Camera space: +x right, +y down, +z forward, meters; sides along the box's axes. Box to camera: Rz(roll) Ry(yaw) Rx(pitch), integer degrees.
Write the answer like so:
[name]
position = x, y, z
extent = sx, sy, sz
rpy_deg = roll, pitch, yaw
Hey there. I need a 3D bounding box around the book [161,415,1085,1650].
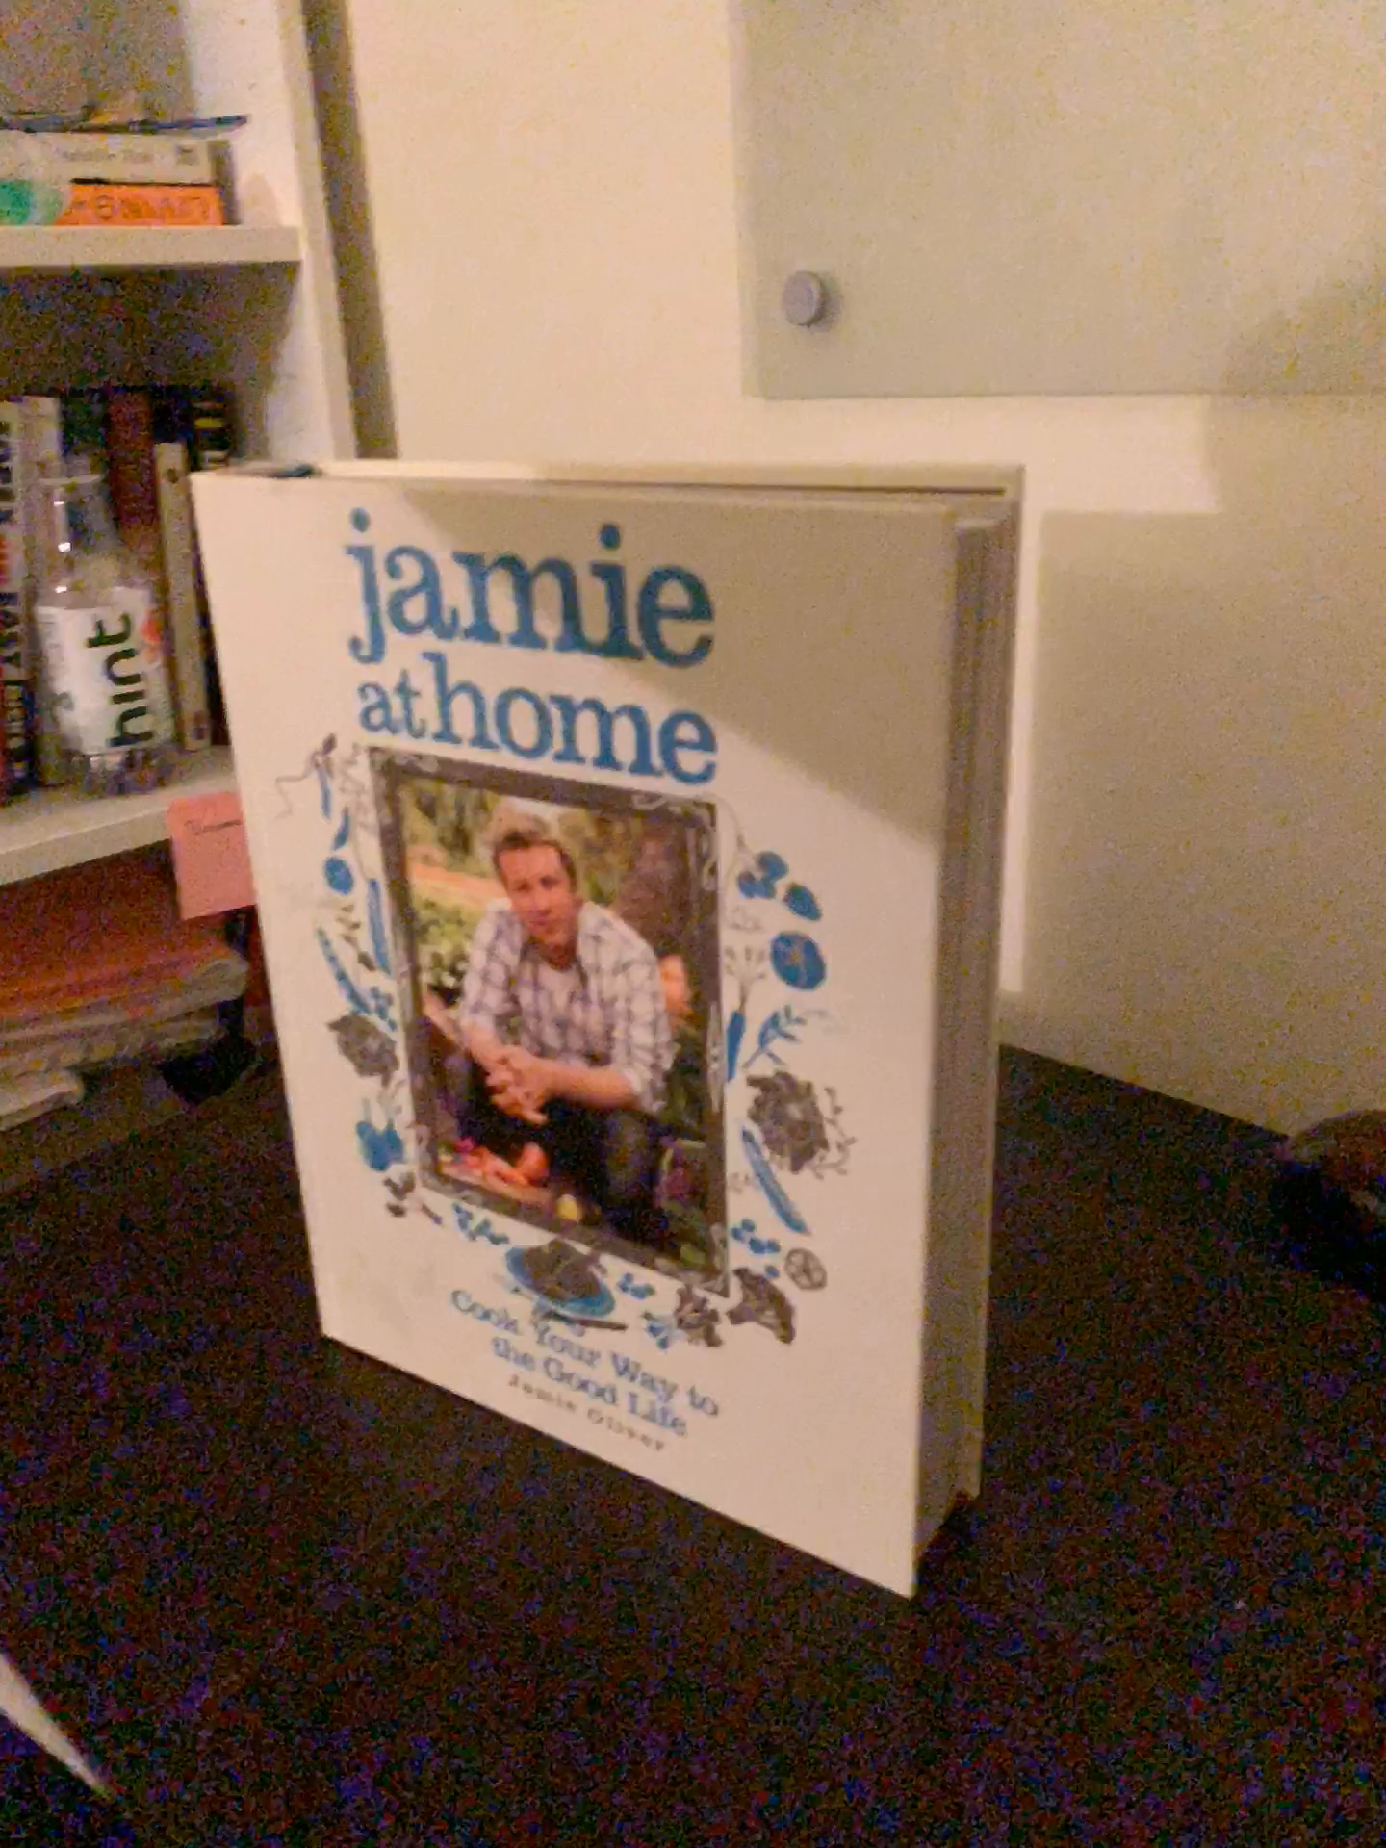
[book]
position = -0.021, 0.018, 0.356
extent = 0.211, 0.269, 0.050
rpy_deg = 12, 26, 32
